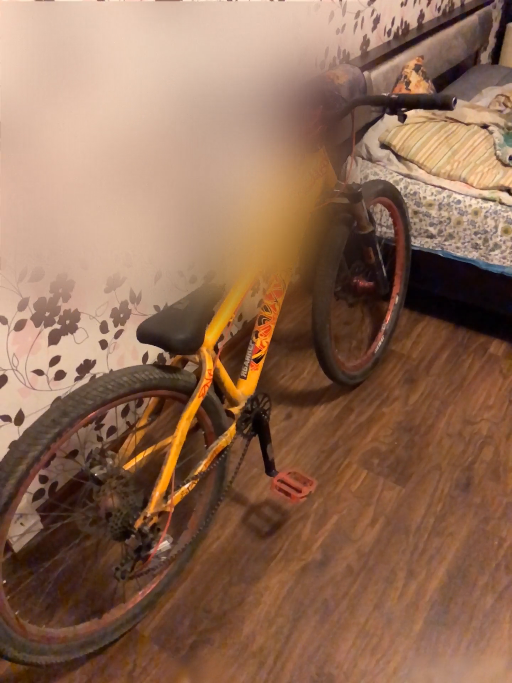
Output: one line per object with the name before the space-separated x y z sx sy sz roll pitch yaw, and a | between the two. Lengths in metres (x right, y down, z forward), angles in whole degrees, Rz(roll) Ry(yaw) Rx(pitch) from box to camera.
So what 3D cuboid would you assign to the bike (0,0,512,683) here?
bike | 0.021 -0.068 1.375 0.662 1.005 1.680 24 50 30
